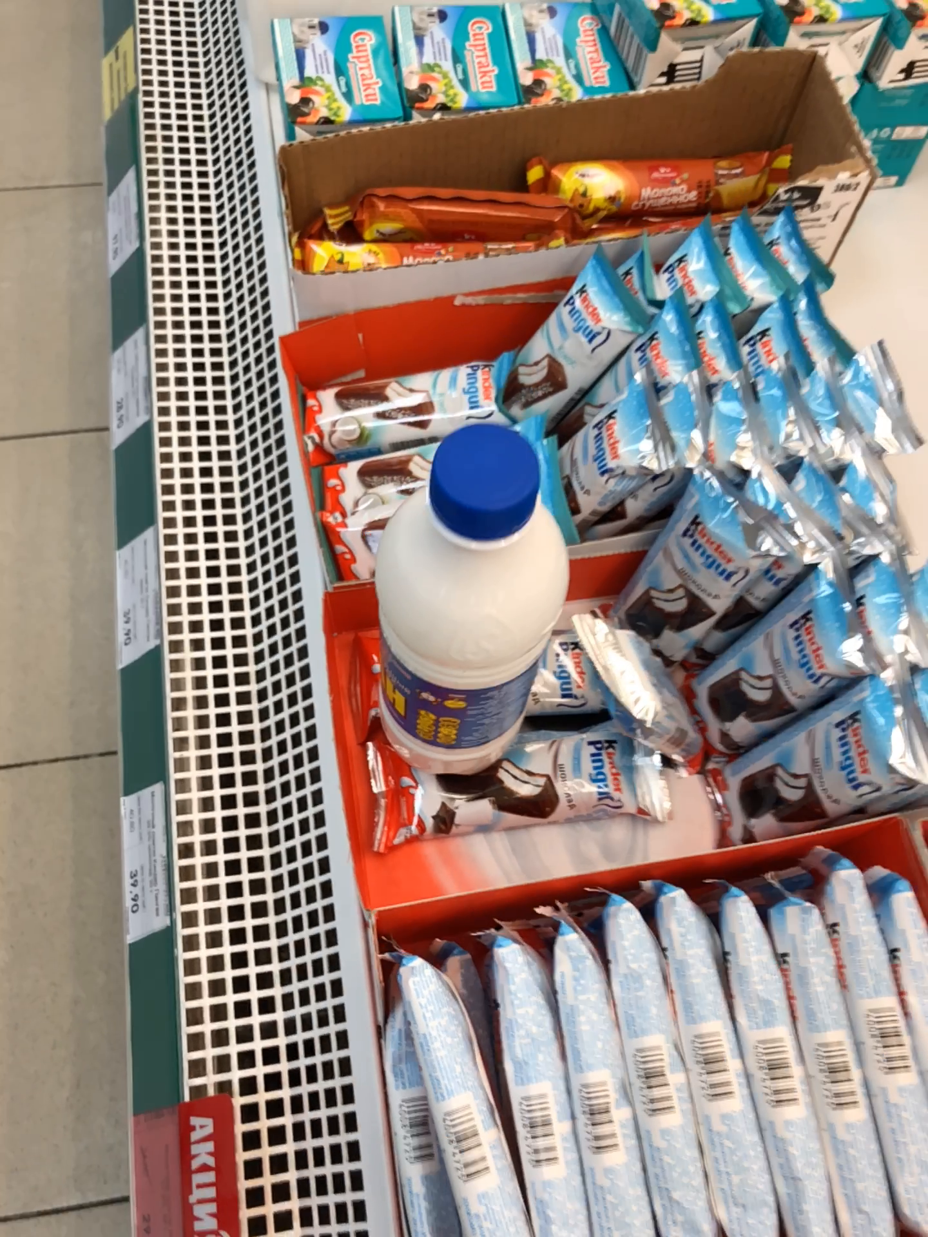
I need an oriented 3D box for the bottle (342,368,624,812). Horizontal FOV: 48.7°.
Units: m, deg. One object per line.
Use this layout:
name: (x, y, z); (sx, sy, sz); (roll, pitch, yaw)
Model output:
bottle: (-0.002, 0.006, 0.369); (0.059, 0.203, 0.064); (1, 65, -3)
